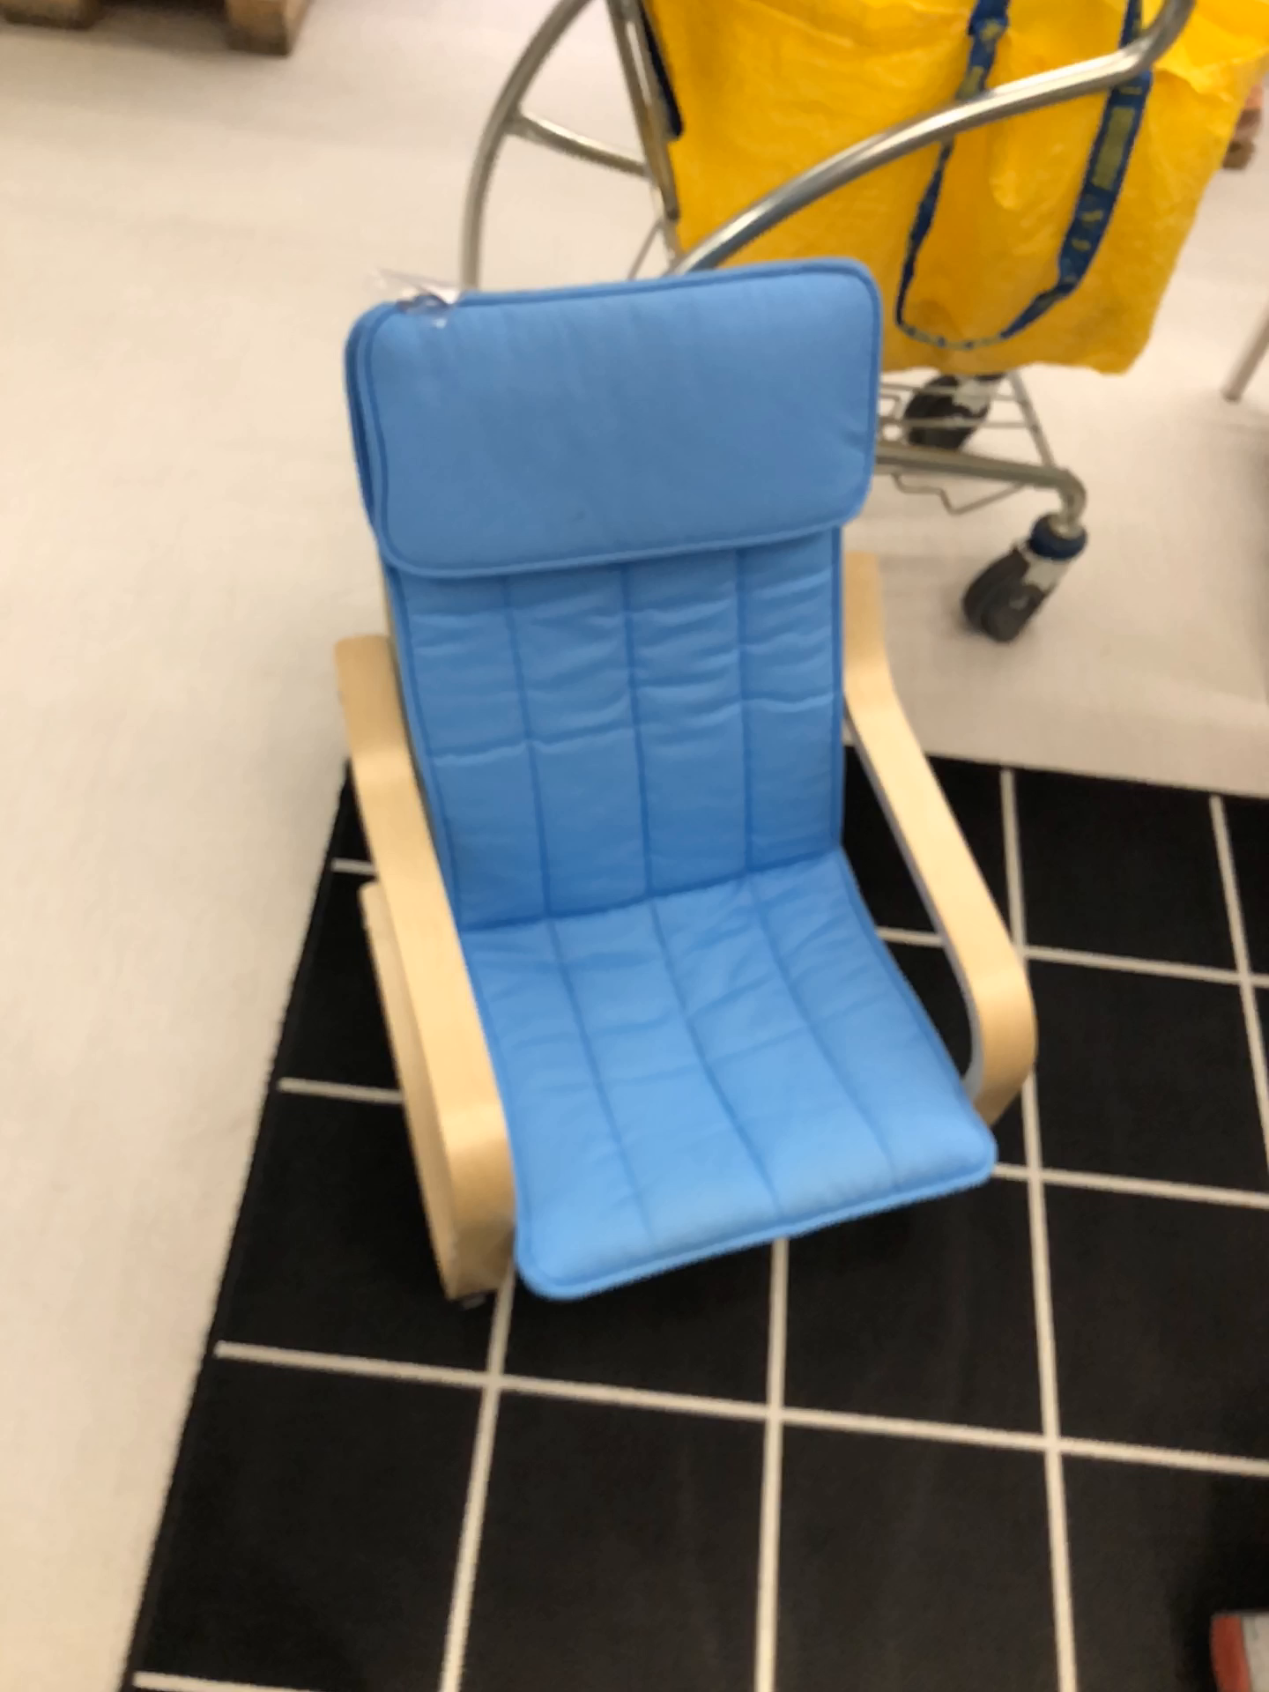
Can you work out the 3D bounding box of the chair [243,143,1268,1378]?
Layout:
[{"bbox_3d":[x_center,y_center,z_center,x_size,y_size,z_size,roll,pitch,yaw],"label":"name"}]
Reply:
[{"bbox_3d":[0.017,0.002,1.192,0.490,0.876,0.562,-11,59,-13],"label":"chair"}]
